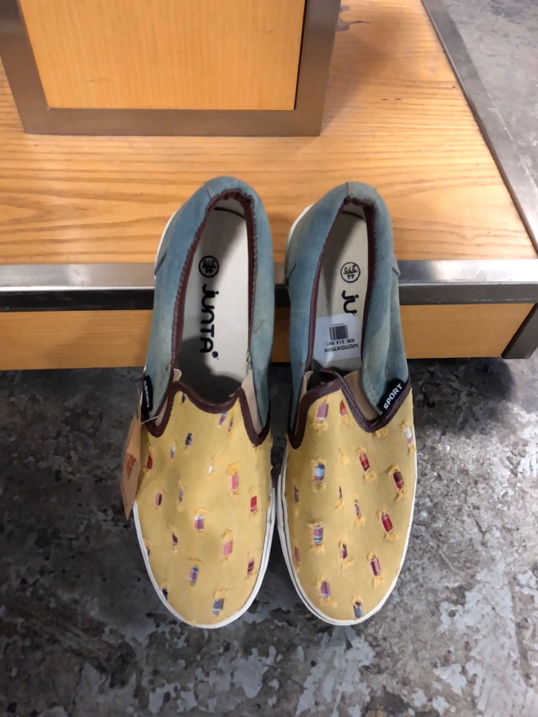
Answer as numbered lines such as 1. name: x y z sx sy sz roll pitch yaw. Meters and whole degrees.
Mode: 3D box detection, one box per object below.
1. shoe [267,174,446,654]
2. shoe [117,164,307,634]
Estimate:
1. shoe: 0.047 0.031 0.382 0.090 0.279 0.100 1 11 2
2. shoe: -0.035 0.020 0.383 0.090 0.259 0.120 4 11 -1
